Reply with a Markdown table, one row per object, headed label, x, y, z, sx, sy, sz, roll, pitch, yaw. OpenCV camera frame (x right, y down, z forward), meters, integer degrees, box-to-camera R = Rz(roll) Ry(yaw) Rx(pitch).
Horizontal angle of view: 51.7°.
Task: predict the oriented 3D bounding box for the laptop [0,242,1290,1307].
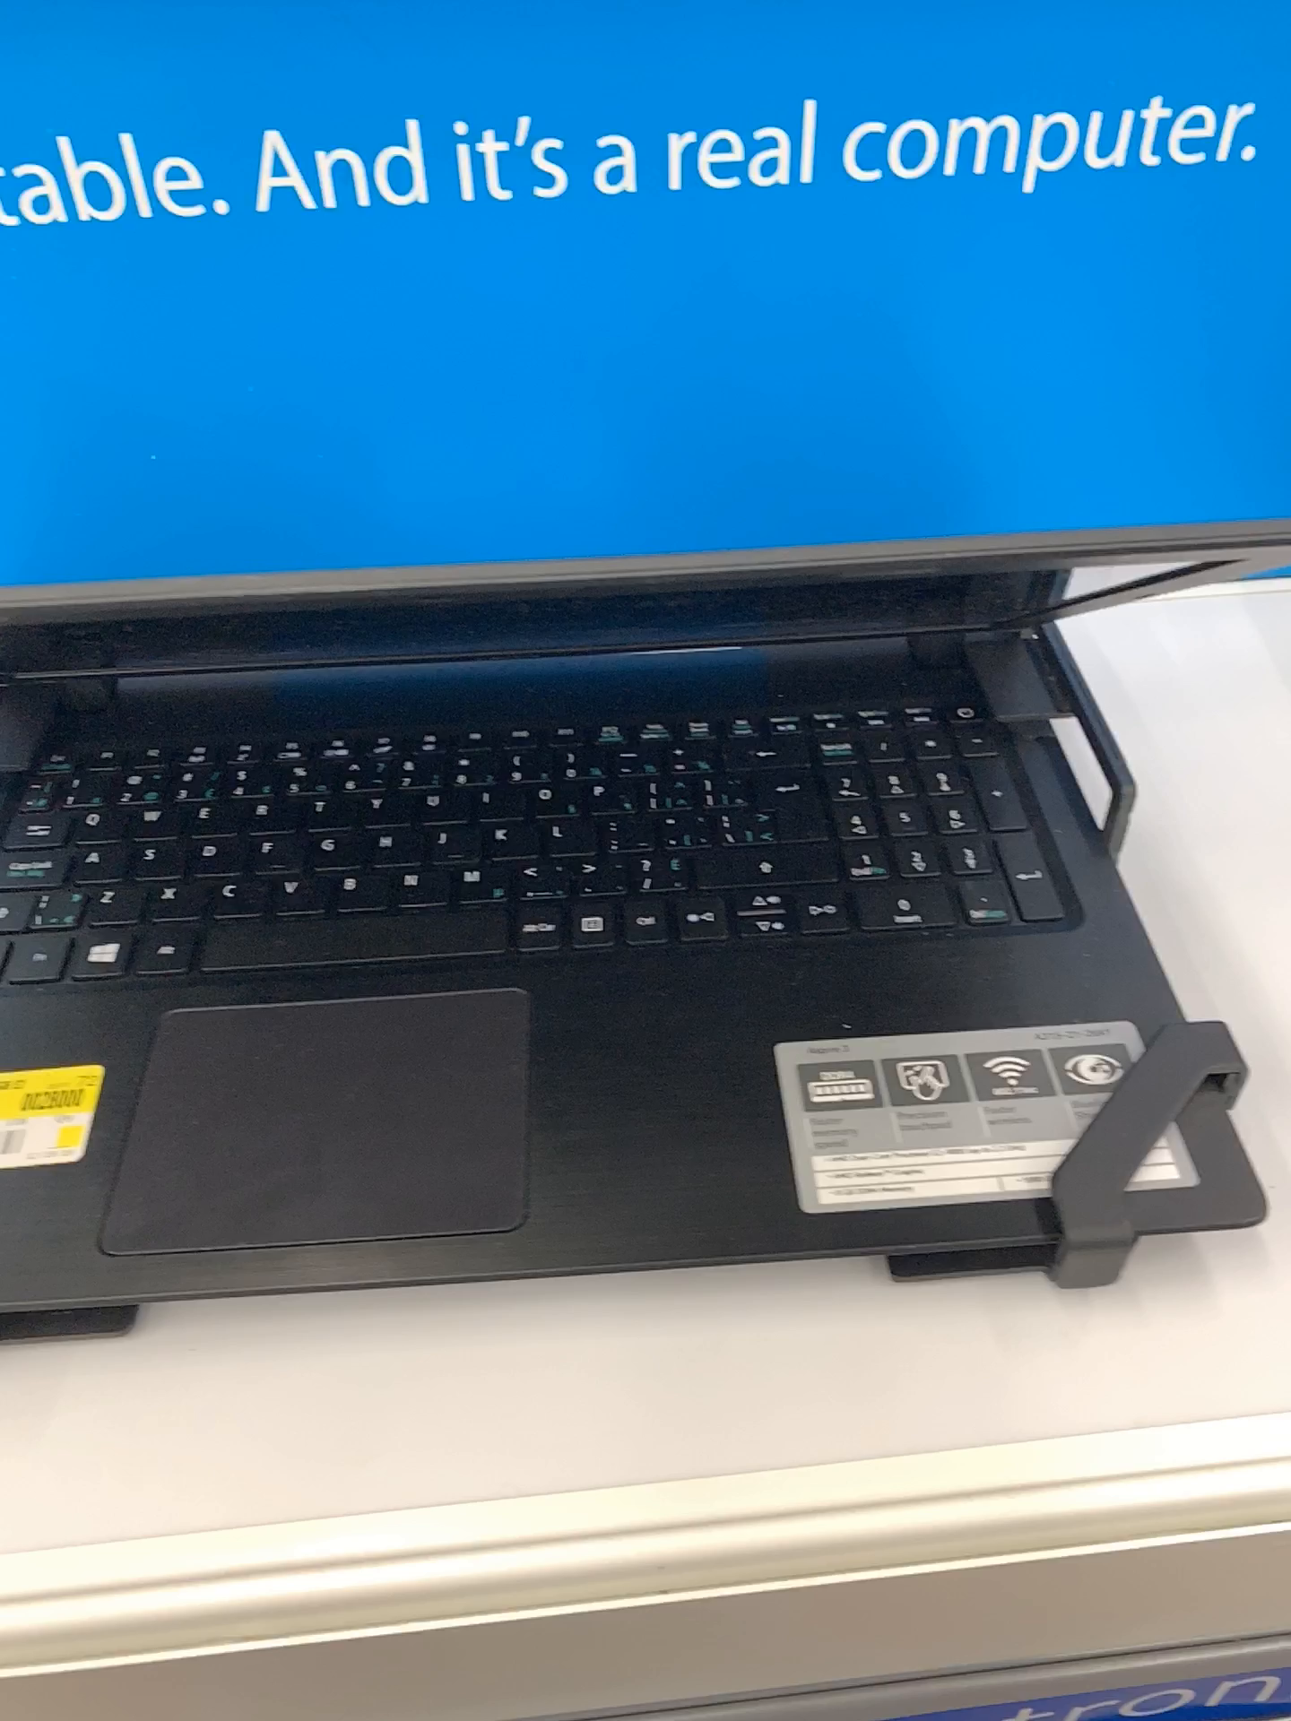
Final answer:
| label | x | y | z | sx | sy | sz | roll | pitch | yaw |
| --- | --- | --- | --- | --- | --- | --- | --- | --- | --- |
| laptop | -0.041 | -0.036 | 0.348 | 0.364 | 0.137 | 0.222 | -3 | 47 | -2 |
